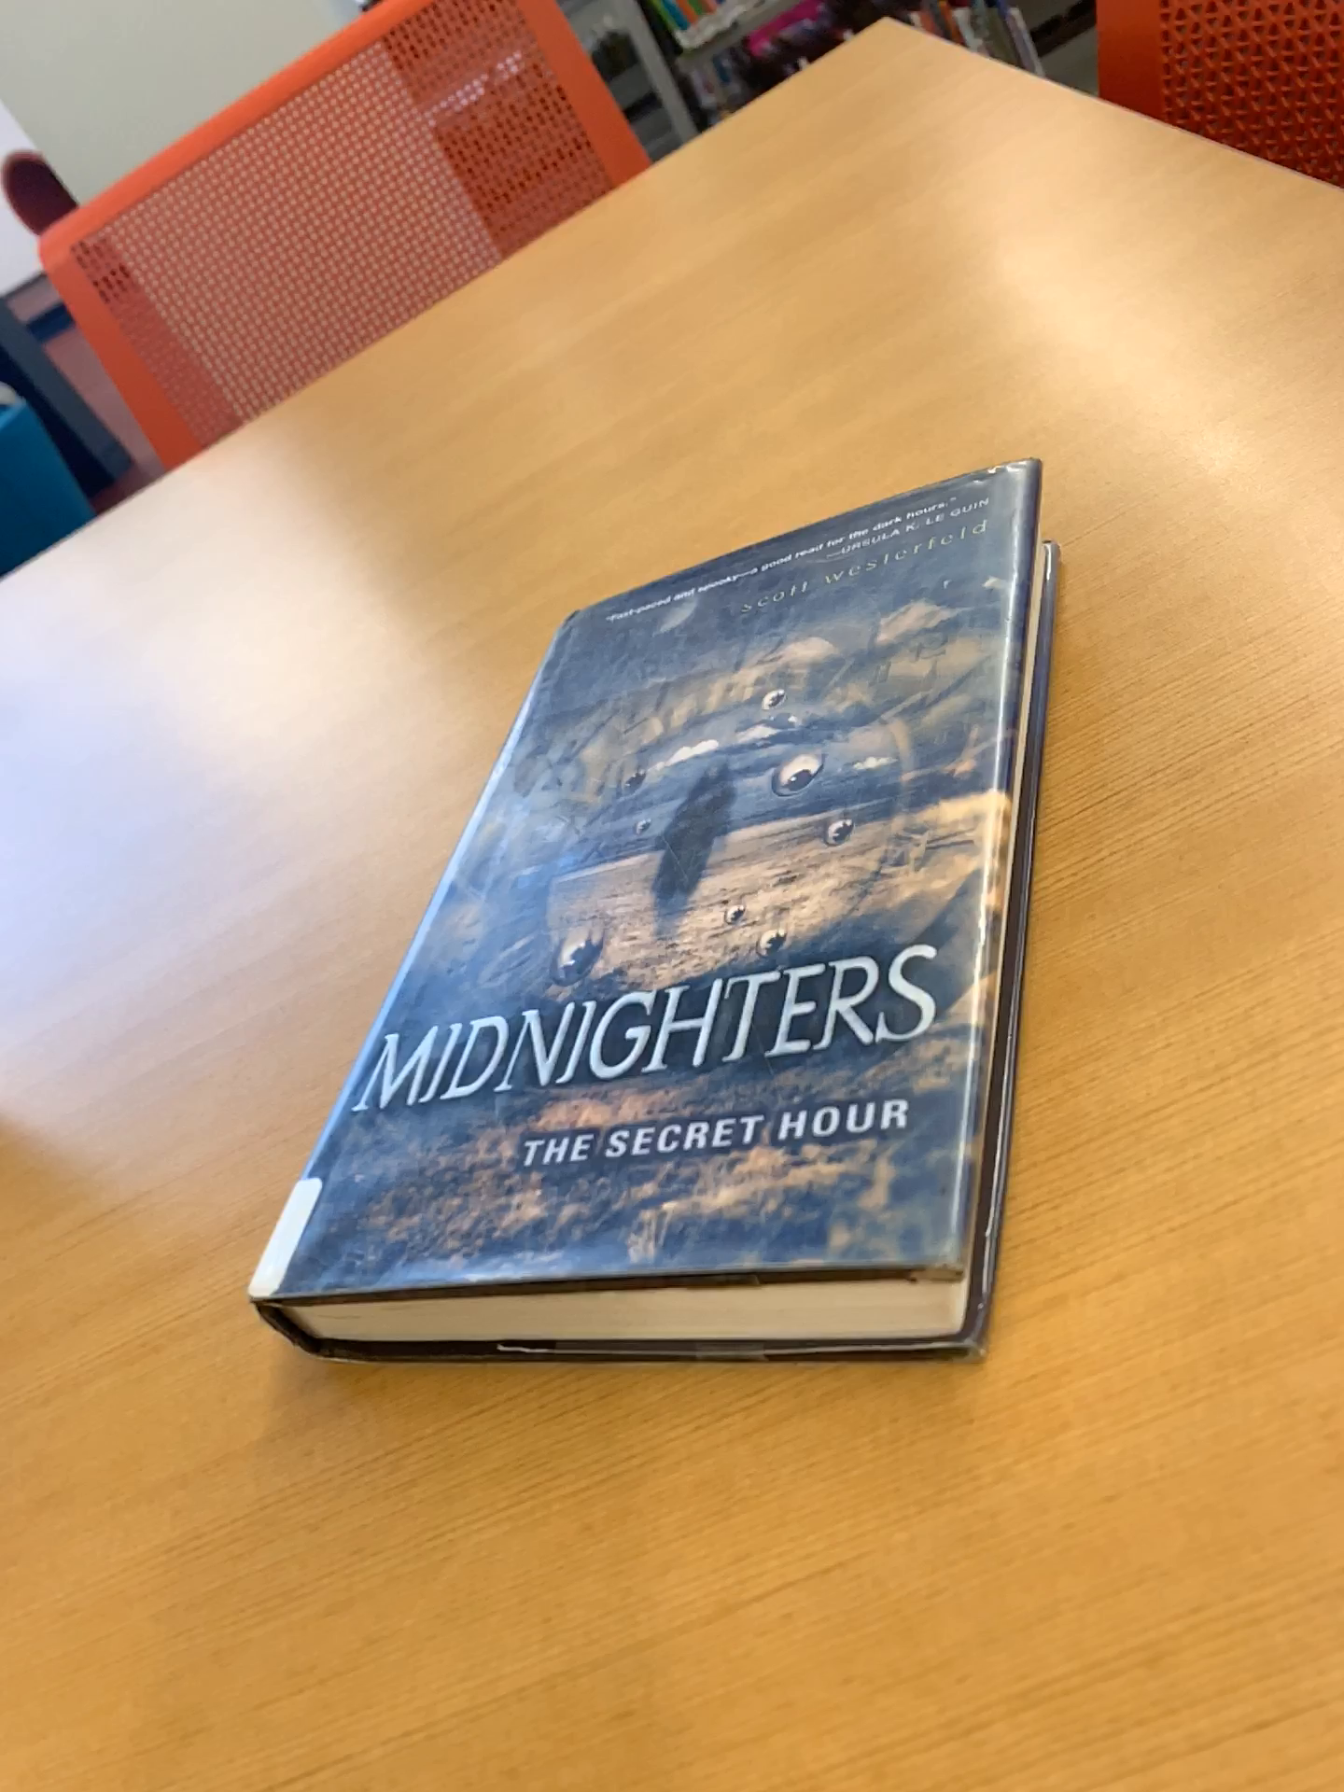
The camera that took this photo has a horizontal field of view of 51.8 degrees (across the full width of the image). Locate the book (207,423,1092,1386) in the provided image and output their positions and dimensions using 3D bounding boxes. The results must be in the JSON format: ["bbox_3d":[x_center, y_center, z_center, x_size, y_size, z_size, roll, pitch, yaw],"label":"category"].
[{"bbox_3d":[0.008,-0.007,0.308,0.151,0.035,0.221,-11,43,30],"label":"book"}]
